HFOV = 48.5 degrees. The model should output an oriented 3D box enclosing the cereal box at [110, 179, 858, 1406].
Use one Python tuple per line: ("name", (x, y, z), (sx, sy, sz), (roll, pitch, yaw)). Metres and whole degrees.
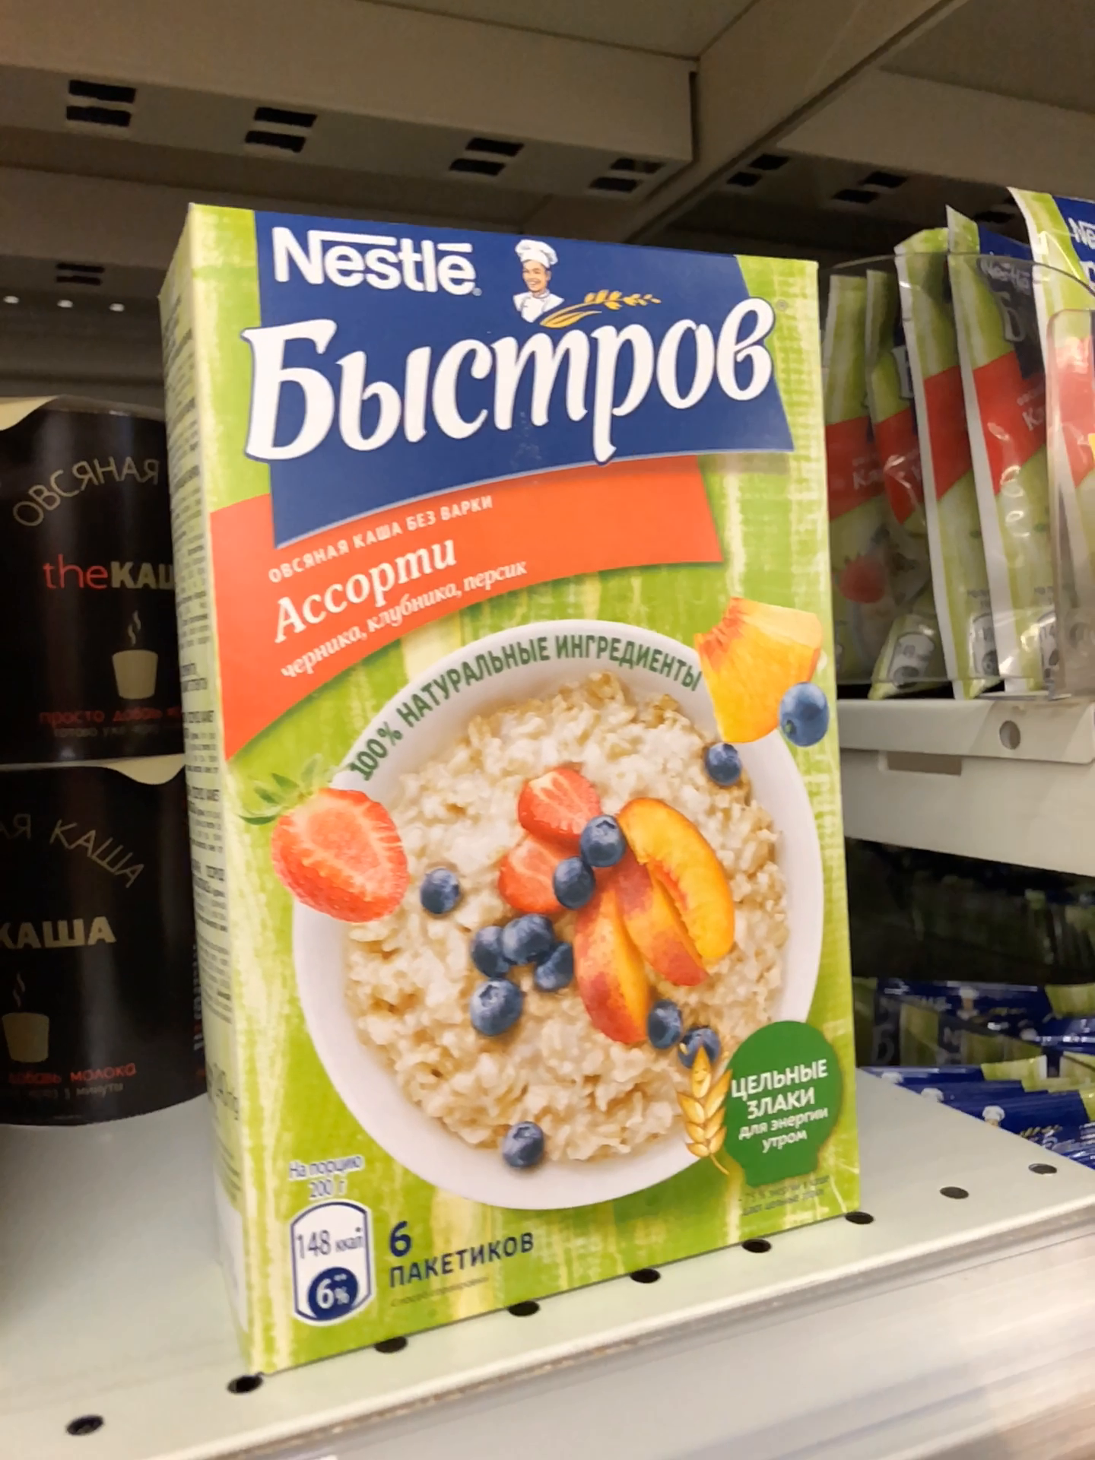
("cereal box", (-0.011, 0.006, 0.246), (0.130, 0.200, 0.050), (-4, 2, -23))
